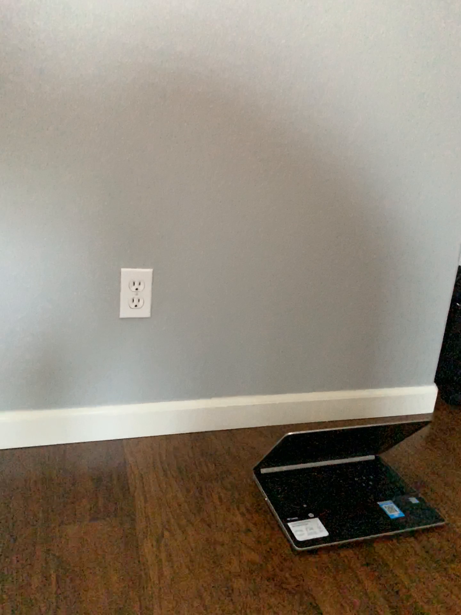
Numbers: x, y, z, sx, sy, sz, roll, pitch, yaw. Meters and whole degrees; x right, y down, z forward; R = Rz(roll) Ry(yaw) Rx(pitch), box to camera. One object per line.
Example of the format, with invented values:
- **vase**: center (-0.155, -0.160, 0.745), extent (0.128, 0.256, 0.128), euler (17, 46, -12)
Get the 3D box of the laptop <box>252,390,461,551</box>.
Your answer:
- **laptop**: center (0.239, 0.301, 0.935), extent (0.317, 0.169, 0.220), euler (0, 16, -20)
